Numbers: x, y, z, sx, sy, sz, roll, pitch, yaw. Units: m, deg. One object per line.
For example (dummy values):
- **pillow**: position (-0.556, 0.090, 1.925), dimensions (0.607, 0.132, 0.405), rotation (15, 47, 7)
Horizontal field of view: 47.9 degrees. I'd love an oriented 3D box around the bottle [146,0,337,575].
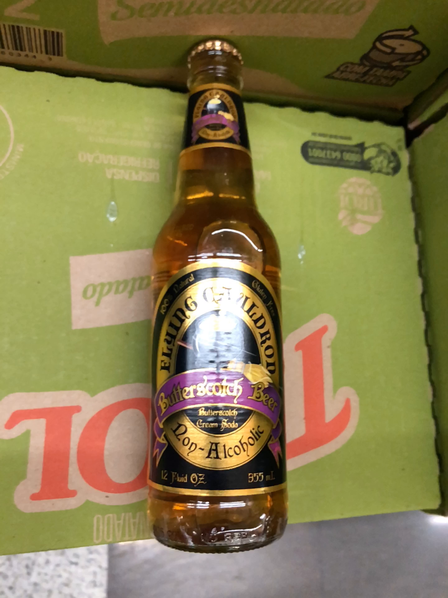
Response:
- **bottle**: position (0.002, -0.023, 0.239), dimensions (0.070, 0.050, 0.260), rotation (2, 80, -17)
